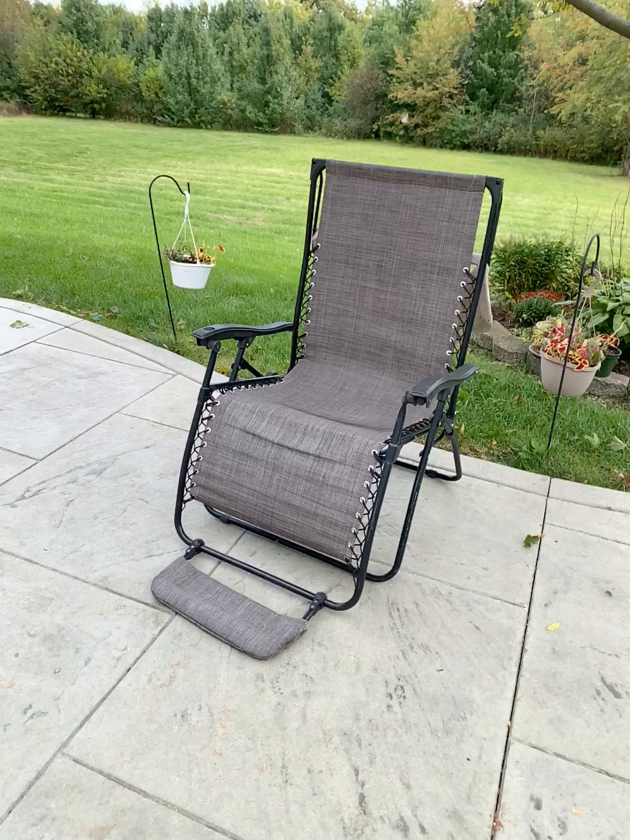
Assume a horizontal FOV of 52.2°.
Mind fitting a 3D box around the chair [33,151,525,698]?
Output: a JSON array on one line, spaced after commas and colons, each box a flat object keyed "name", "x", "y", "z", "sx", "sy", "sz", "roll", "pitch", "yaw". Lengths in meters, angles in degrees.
[{"name": "chair", "x": -0.005, "y": -0.142, "z": 1.869, "sx": 0.742, "sy": 1.056, "sz": 1.152, "roll": 17, "pitch": 31, "yaw": 25}]
